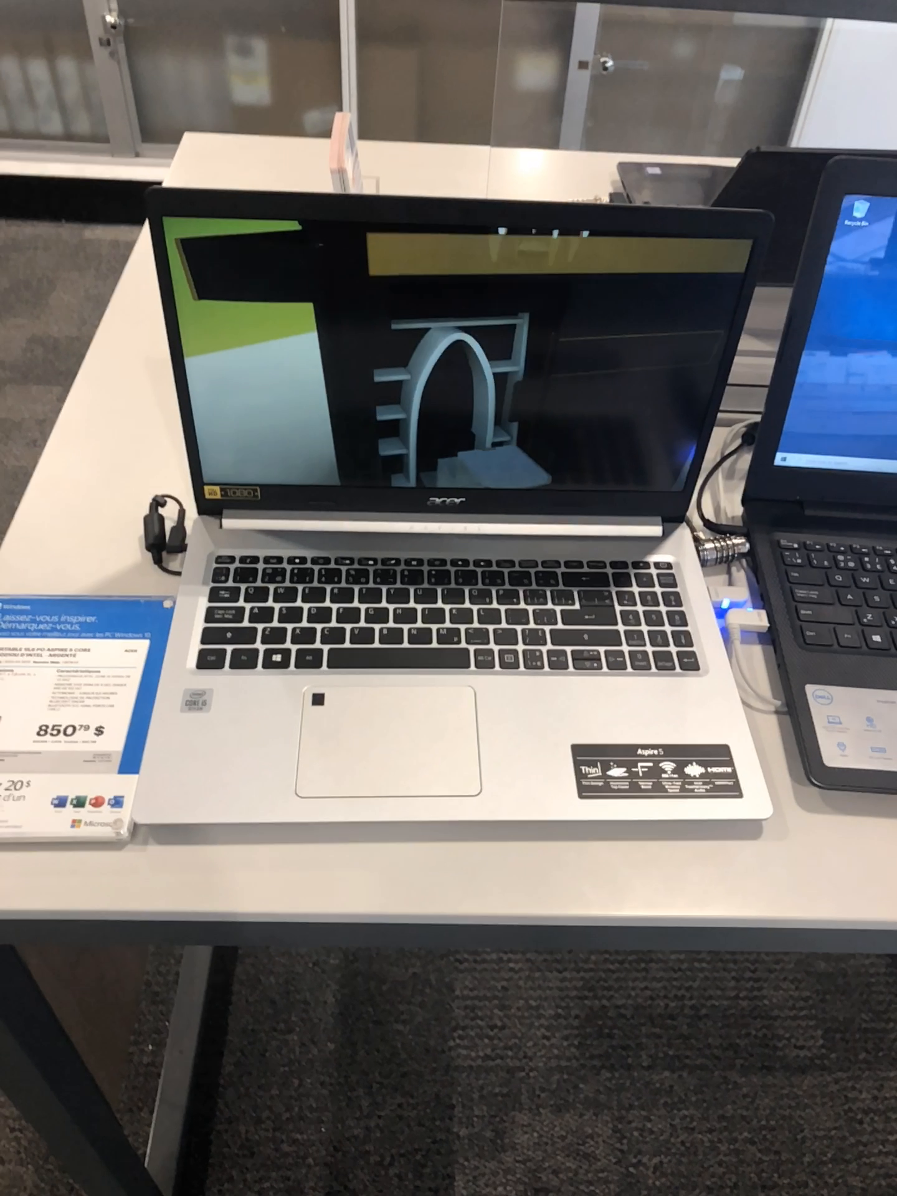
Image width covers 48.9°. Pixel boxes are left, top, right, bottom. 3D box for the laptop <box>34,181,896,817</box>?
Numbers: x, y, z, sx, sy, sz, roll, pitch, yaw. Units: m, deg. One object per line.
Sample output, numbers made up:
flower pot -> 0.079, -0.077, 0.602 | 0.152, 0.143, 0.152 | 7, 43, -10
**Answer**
laptop -> 0.004, -0.057, 0.561 | 0.349, 0.229, 0.268 | 0, 47, -2
